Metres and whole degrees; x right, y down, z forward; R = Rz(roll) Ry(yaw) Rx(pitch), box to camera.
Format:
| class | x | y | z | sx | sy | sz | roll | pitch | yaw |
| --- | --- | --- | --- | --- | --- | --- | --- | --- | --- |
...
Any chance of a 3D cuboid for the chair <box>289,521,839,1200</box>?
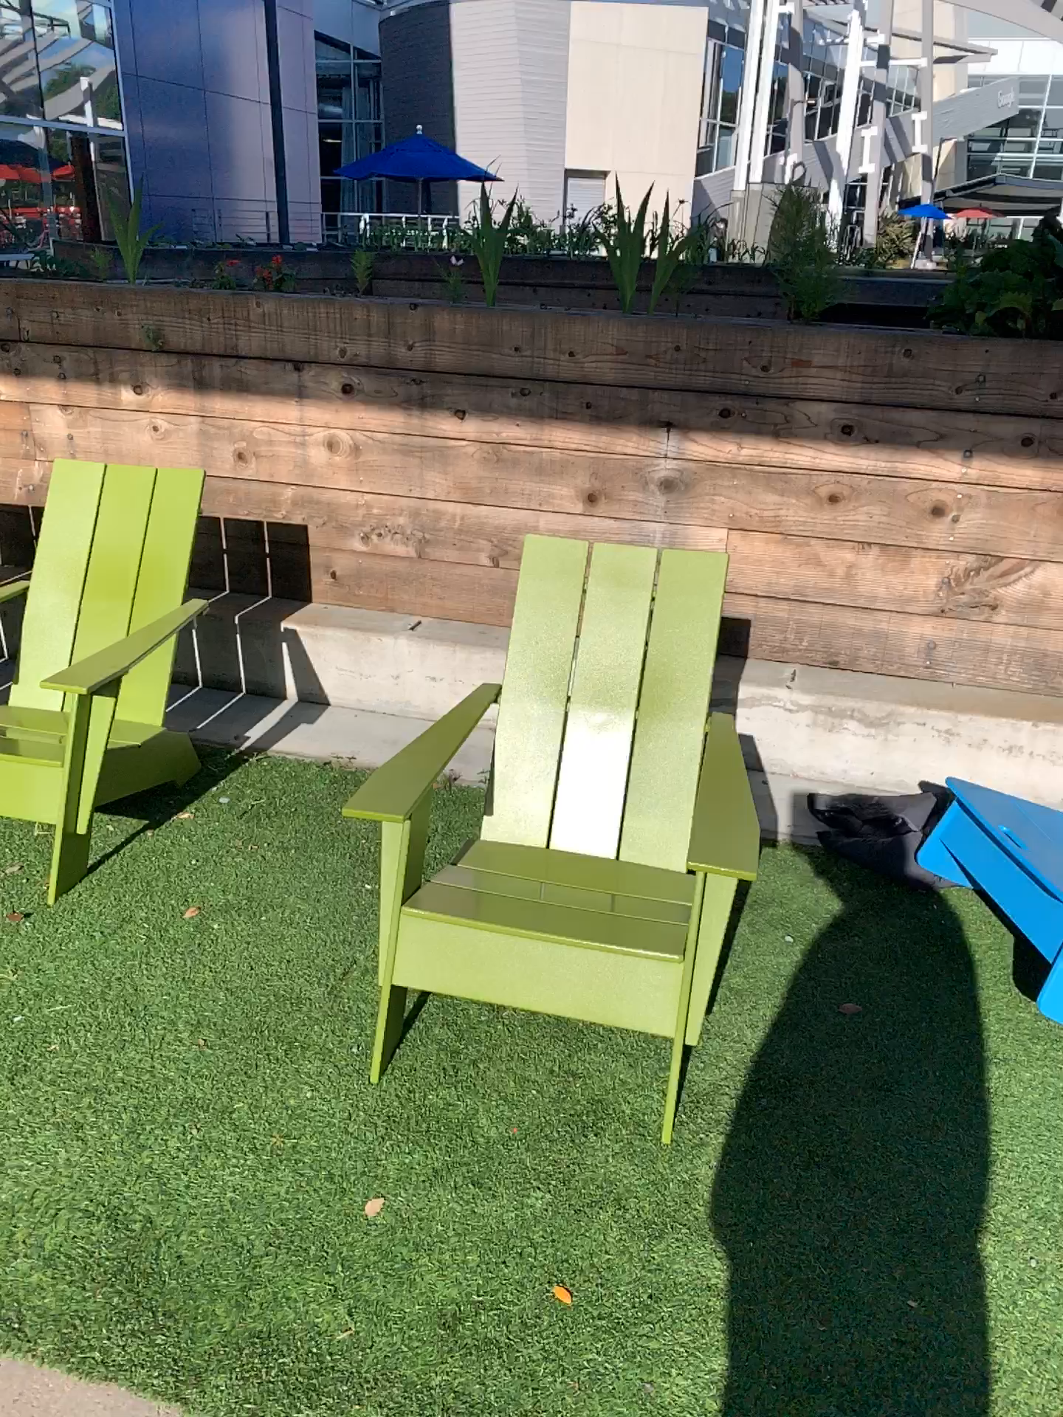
| class | x | y | z | sx | sy | sz | roll | pitch | yaw |
| --- | --- | --- | --- | --- | --- | --- | --- | --- | --- |
| chair | 0.135 | 0.206 | 2.280 | 0.851 | 0.896 | 1.004 | 8 | 25 | 13 |
